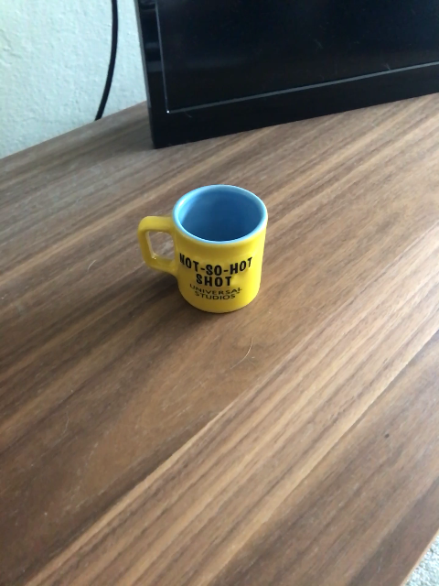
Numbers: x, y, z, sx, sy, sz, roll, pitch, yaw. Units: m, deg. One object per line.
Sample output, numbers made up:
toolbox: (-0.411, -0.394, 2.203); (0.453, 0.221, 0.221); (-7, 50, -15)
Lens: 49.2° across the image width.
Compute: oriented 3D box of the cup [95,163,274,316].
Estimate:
cup: (-0.016, -0.031, 0.282); (0.090, 0.060, 0.060); (3, 48, 2)
